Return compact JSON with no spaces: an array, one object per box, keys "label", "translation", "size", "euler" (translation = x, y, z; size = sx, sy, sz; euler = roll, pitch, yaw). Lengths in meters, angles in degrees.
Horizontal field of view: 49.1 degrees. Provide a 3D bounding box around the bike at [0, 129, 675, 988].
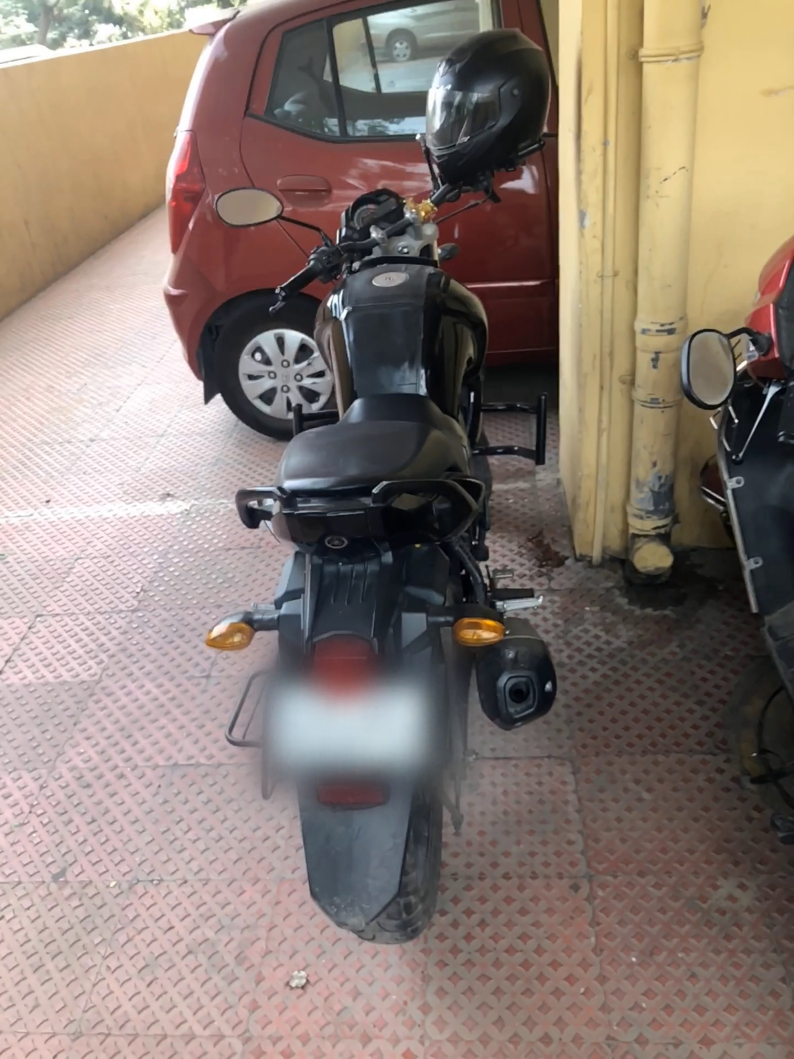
[{"label":"bike","translation":[-0.079,-0.174,1.887],"size":[0.739,1.025,1.792],"euler":[-5,31,3]}]
